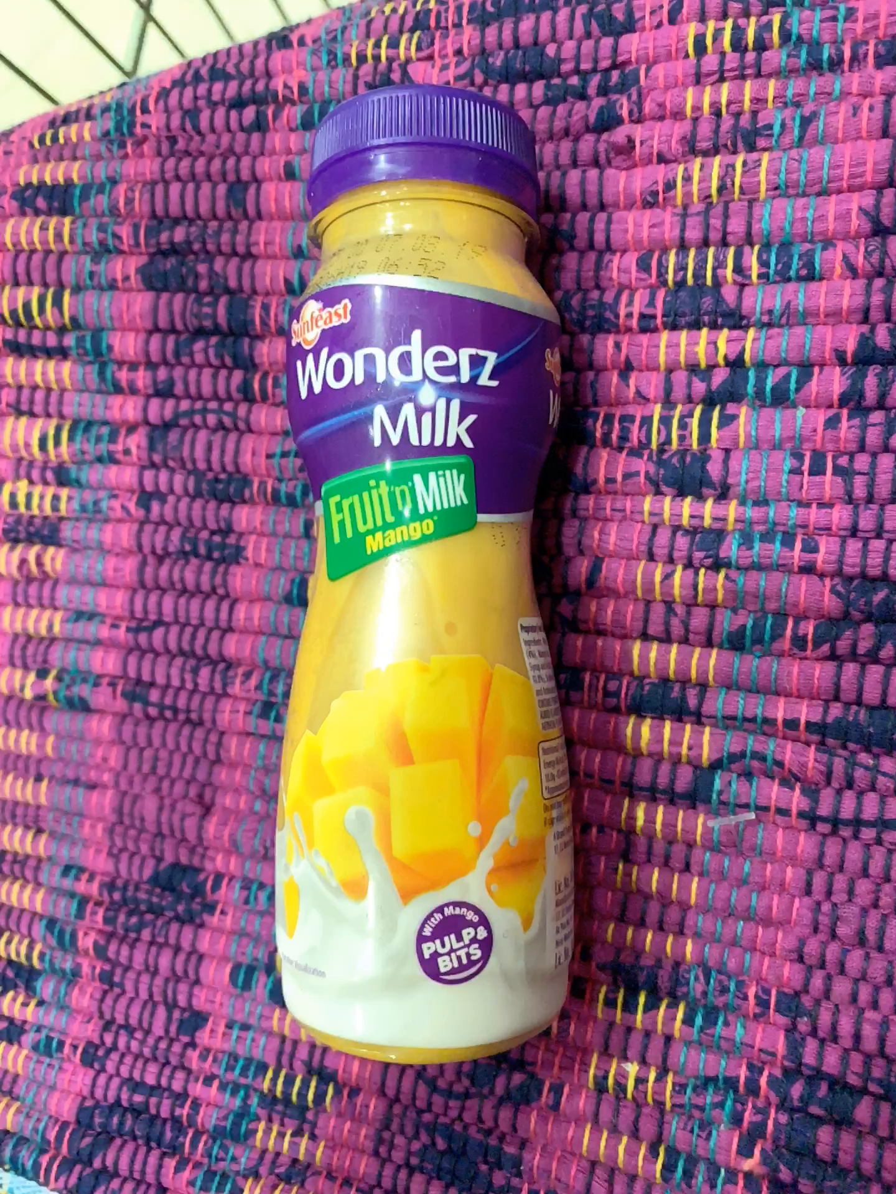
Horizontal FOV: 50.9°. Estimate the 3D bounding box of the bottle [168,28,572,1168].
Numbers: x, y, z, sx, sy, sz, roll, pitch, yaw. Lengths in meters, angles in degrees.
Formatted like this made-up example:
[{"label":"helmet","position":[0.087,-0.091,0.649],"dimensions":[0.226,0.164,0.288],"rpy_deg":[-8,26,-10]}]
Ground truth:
[{"label":"bottle","position":[-0.009,-0.001,0.150],"dimensions":[0.050,0.040,0.150],"rpy_deg":[-1,85,19]}]
